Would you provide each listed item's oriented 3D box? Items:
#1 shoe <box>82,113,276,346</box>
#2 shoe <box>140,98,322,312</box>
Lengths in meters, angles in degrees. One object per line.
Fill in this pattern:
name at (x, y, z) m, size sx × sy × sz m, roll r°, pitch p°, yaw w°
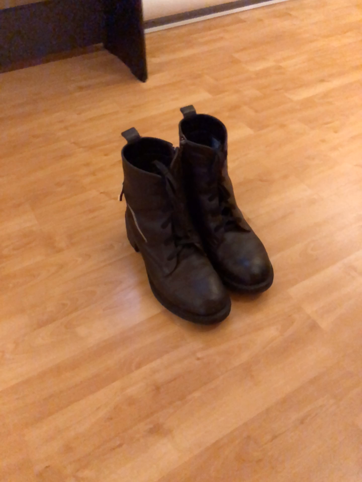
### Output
shoe at (-0.015, -0.026, 0.561) m, size 0.110 × 0.179 × 0.271 m, roll -26°, pitch 52°, yaw -22°
shoe at (0.055, -0.064, 0.607) m, size 0.110 × 0.179 × 0.271 m, roll -24°, pitch 51°, yaw -20°
